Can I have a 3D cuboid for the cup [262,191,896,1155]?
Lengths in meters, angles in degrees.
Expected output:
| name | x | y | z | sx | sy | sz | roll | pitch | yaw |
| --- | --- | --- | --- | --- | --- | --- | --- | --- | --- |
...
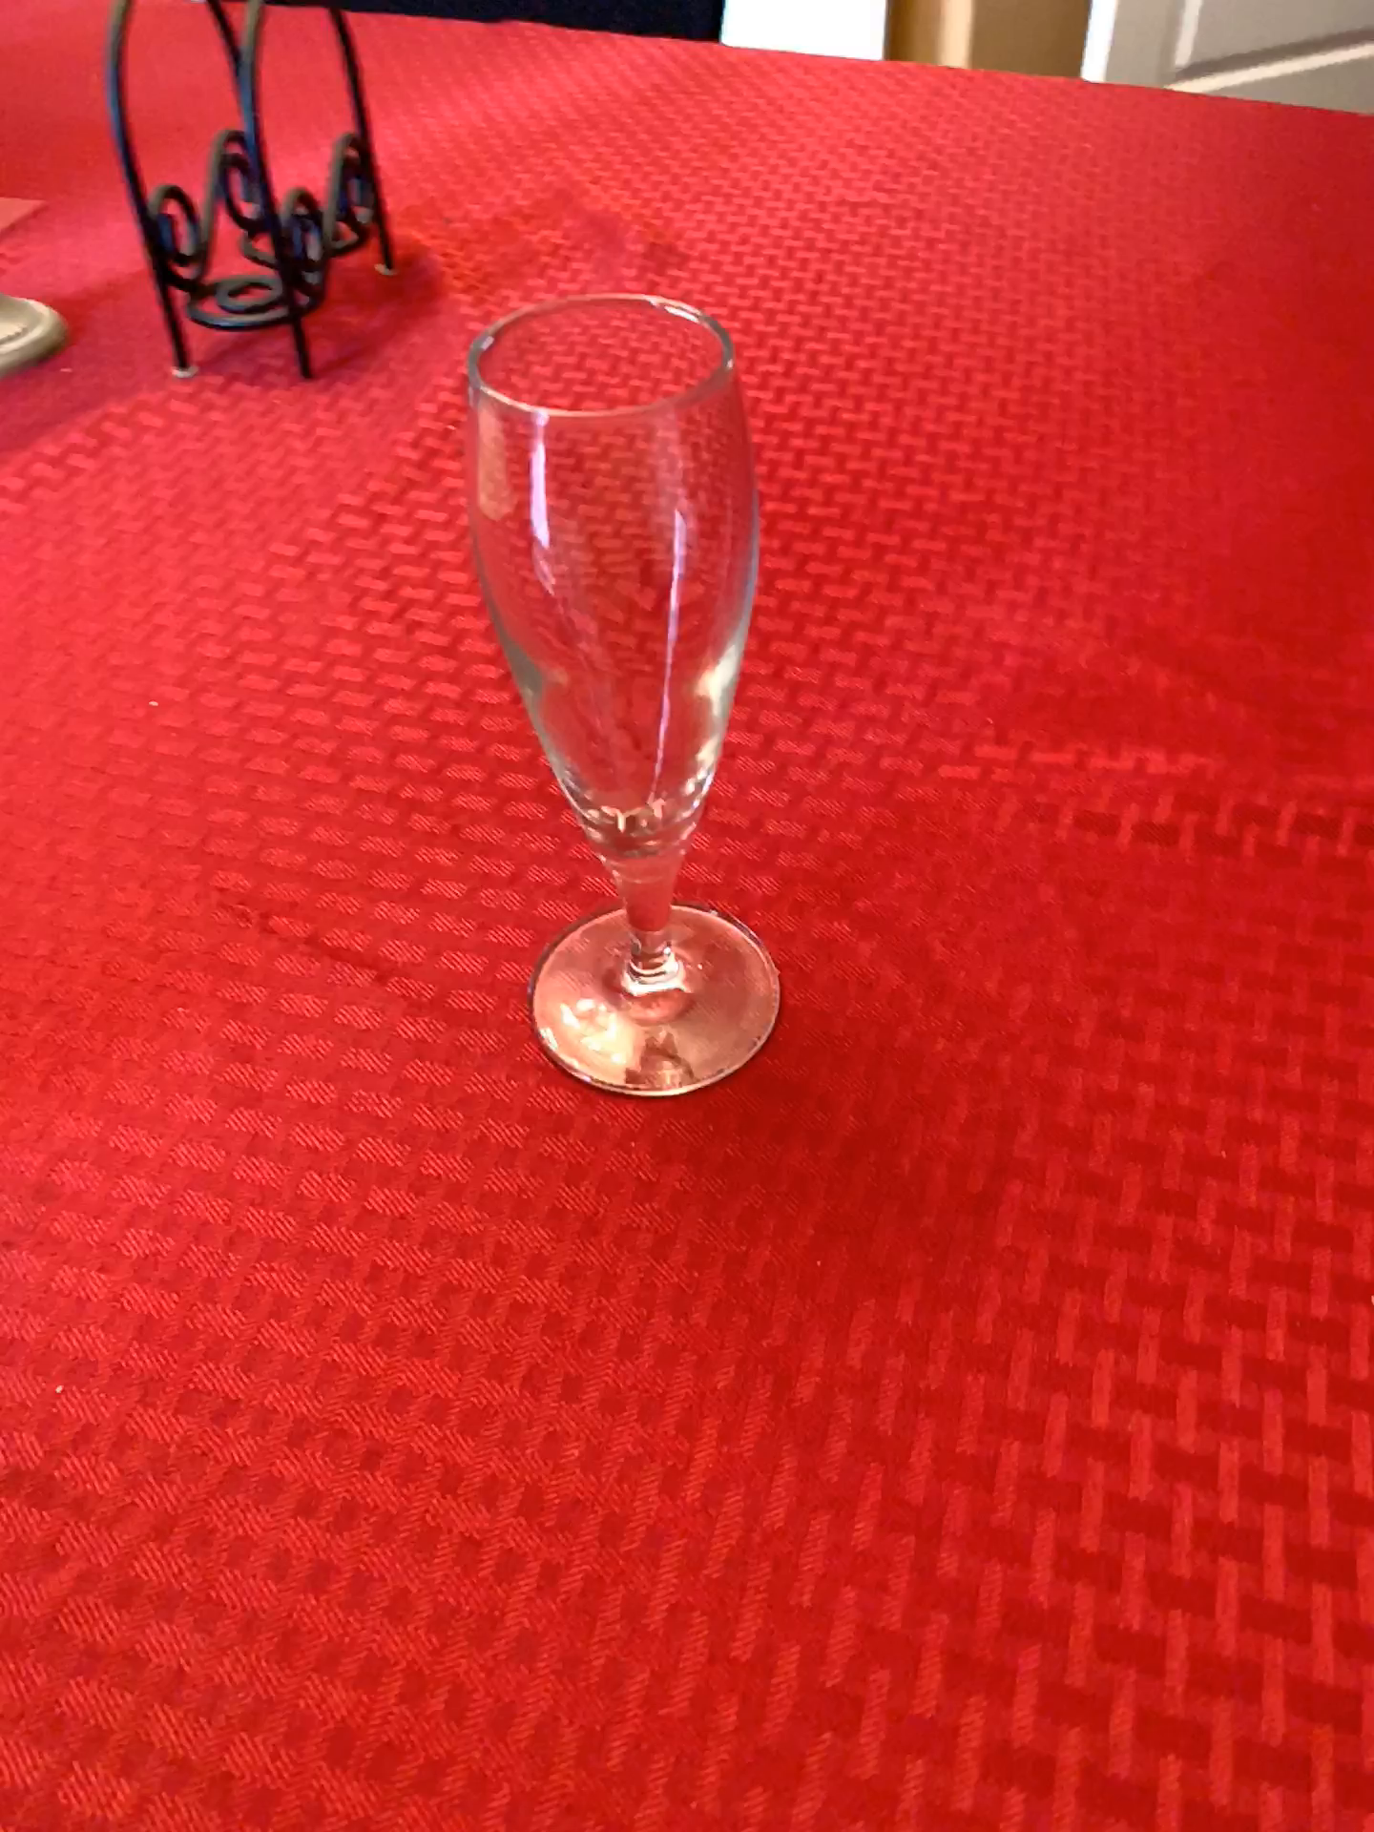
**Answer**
| name | x | y | z | sx | sy | sz | roll | pitch | yaw |
| --- | --- | --- | --- | --- | --- | --- | --- | --- | --- |
| cup | -0.013 | -0.043 | 0.307 | 0.080 | 0.179 | 0.080 | -1 | 47 | 1 |
